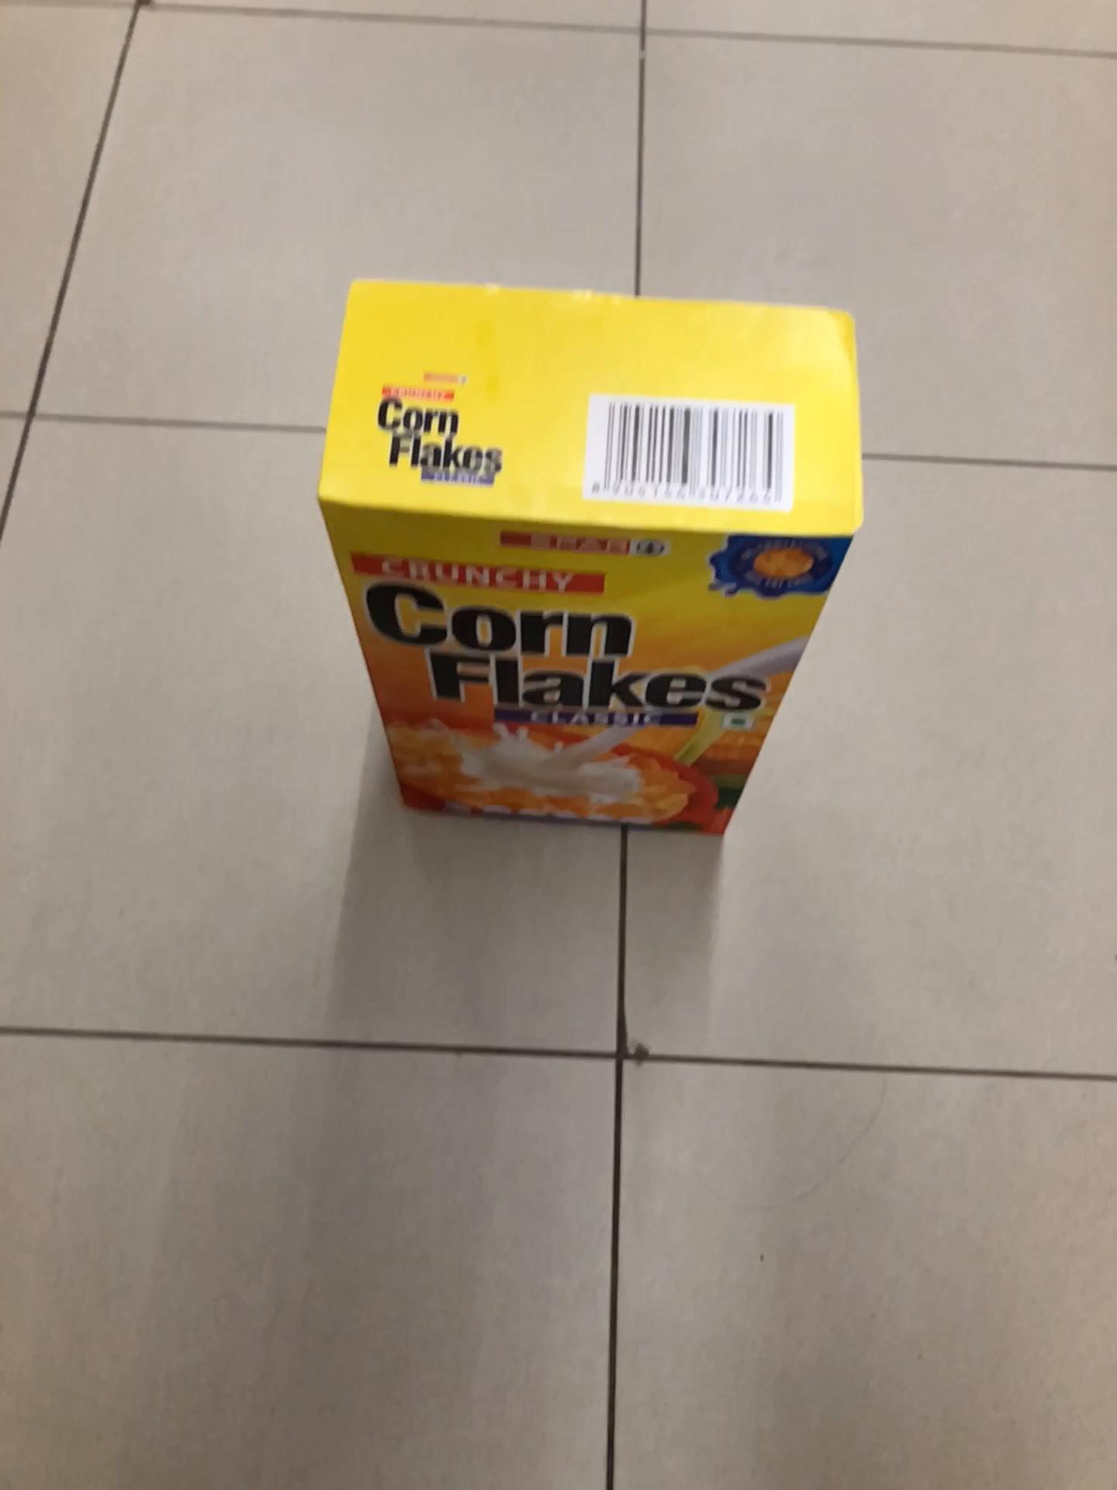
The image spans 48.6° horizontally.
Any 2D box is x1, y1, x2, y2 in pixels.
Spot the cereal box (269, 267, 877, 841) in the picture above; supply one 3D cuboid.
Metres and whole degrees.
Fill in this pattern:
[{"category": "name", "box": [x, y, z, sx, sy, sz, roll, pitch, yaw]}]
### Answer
[{"category": "cereal box", "box": [0.005, -0.060, 0.563, 0.200, 0.299, 0.100, 4, 66, 0]}]
